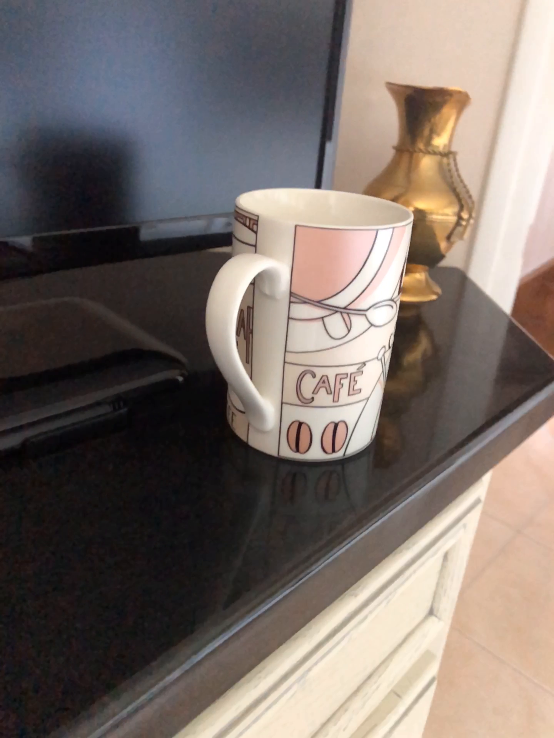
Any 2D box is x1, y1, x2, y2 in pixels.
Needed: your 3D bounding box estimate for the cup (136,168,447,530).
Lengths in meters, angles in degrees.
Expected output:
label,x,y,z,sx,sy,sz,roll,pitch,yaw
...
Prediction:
label,x,y,z,sx,sy,sz,roll,pitch,yaw
cup,0.007,-0.019,0.260,0.070,0.109,0.111,21,30,30
